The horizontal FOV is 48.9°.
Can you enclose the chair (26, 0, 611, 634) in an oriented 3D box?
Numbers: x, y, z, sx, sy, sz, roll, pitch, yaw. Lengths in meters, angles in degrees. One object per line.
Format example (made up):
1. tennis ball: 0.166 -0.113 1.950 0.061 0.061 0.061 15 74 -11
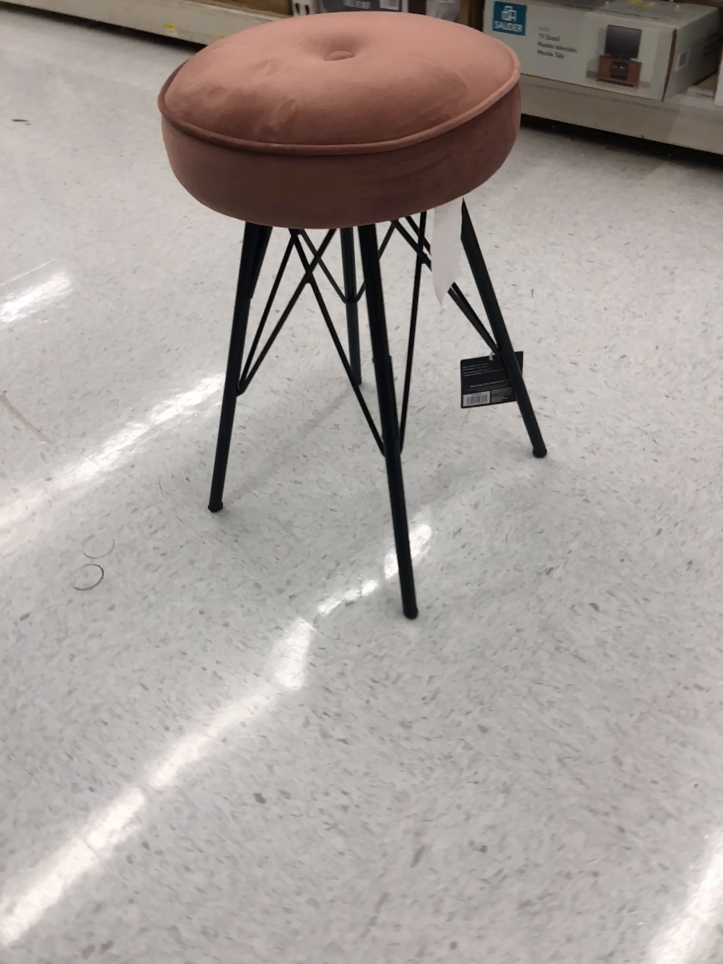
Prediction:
1. chair: -0.010 -0.190 0.846 0.351 0.498 0.361 25 53 29
